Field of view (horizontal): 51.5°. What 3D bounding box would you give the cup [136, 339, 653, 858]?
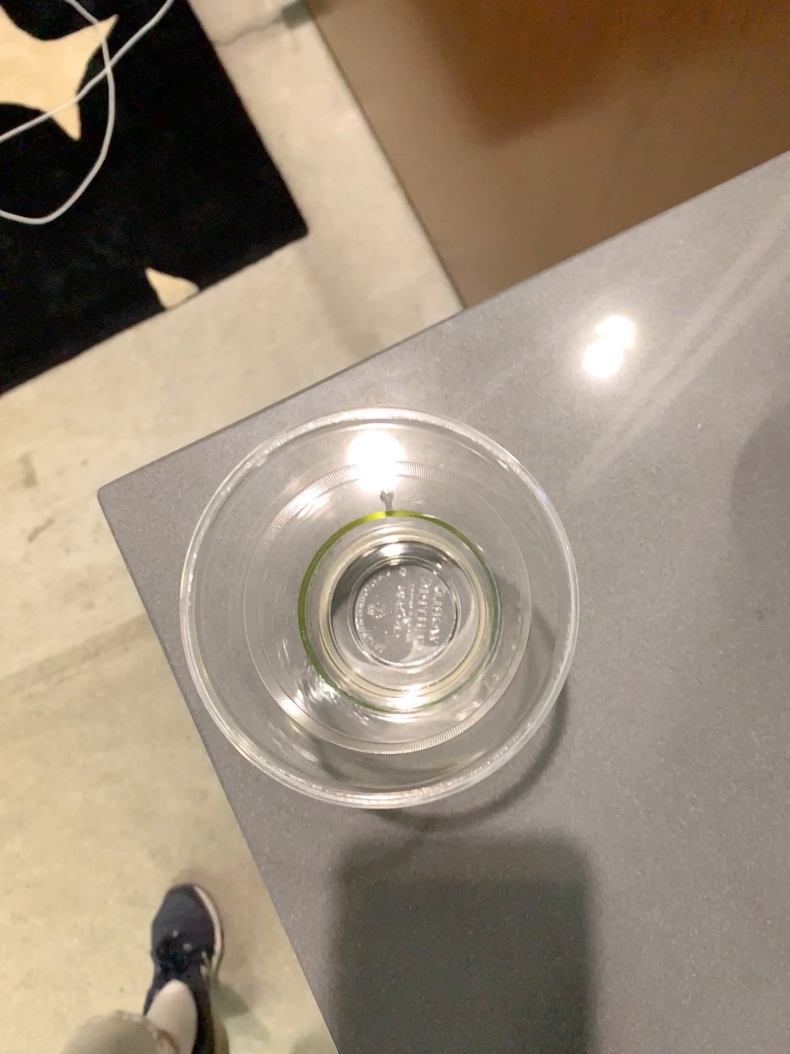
[{"bbox_3d":[0.001,0.022,0.246,0.090,0.120,0.090,0,82,3],"label":"cup"}]
